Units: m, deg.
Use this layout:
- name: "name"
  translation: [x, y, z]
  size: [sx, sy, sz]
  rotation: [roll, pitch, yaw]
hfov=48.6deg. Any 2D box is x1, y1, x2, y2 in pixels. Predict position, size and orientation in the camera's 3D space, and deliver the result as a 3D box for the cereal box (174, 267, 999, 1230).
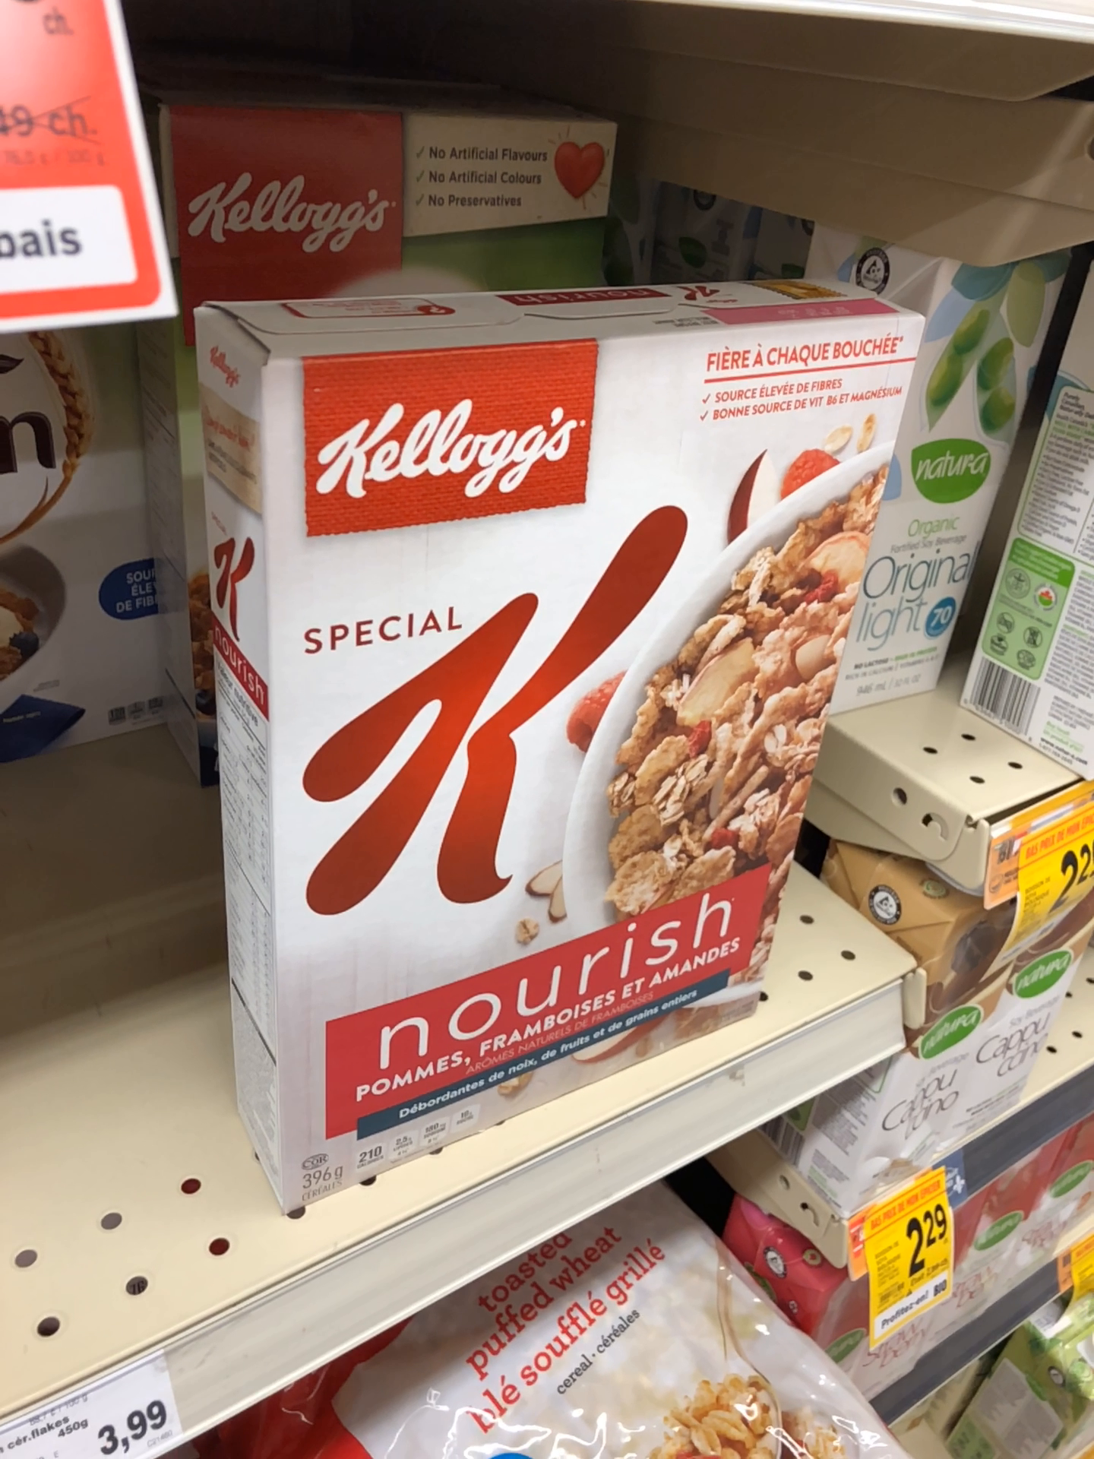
- name: "cereal box"
  translation: [0.007, 0.002, 0.354]
  size: [0.200, 0.248, 0.060]
  rotation: [-13, 36, -30]
